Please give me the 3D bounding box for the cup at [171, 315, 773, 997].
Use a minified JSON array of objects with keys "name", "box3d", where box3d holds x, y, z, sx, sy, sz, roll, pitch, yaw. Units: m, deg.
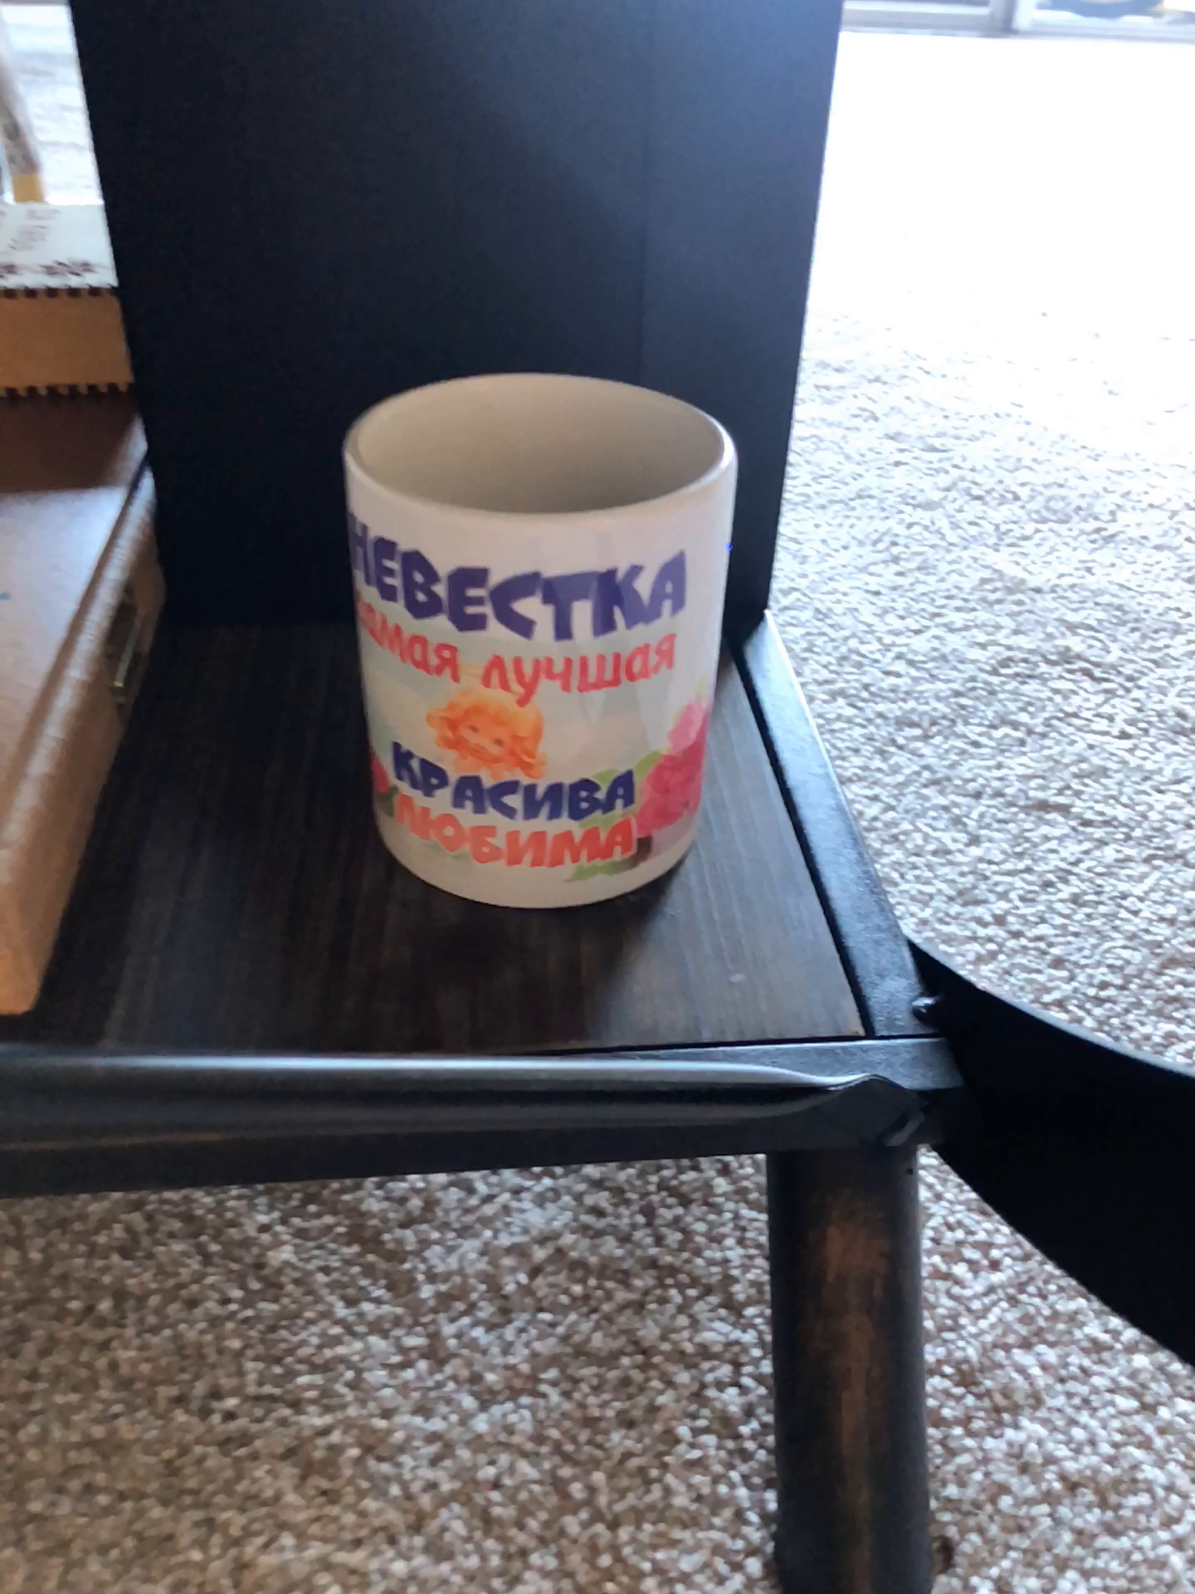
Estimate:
[{"name":"cup","box3d":[-0.020,-0.044,0.327,0.090,0.099,0.141,12,36,12]}]
